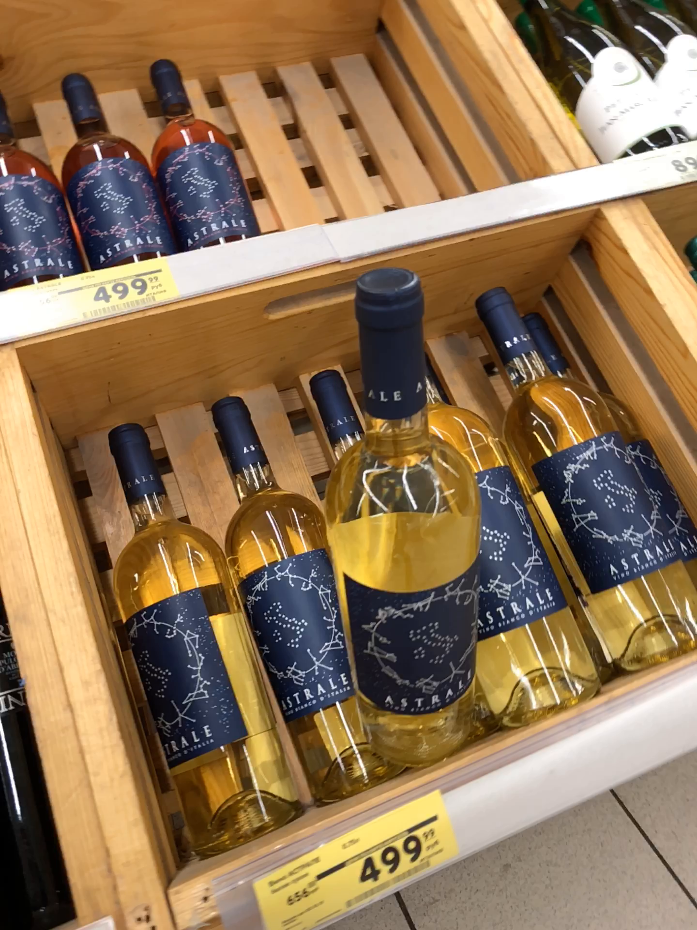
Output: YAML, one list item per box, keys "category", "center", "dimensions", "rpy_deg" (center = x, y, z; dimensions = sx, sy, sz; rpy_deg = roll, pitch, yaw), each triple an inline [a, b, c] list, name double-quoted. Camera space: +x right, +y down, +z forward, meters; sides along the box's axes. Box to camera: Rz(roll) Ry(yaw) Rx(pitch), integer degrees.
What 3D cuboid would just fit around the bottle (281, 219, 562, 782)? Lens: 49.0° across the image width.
- category: "bottle"
  center: [0.034, 0.034, 0.385]
  dimensions: [0.090, 0.278, 0.080]
  rpy_deg: [-12, 37, -9]
